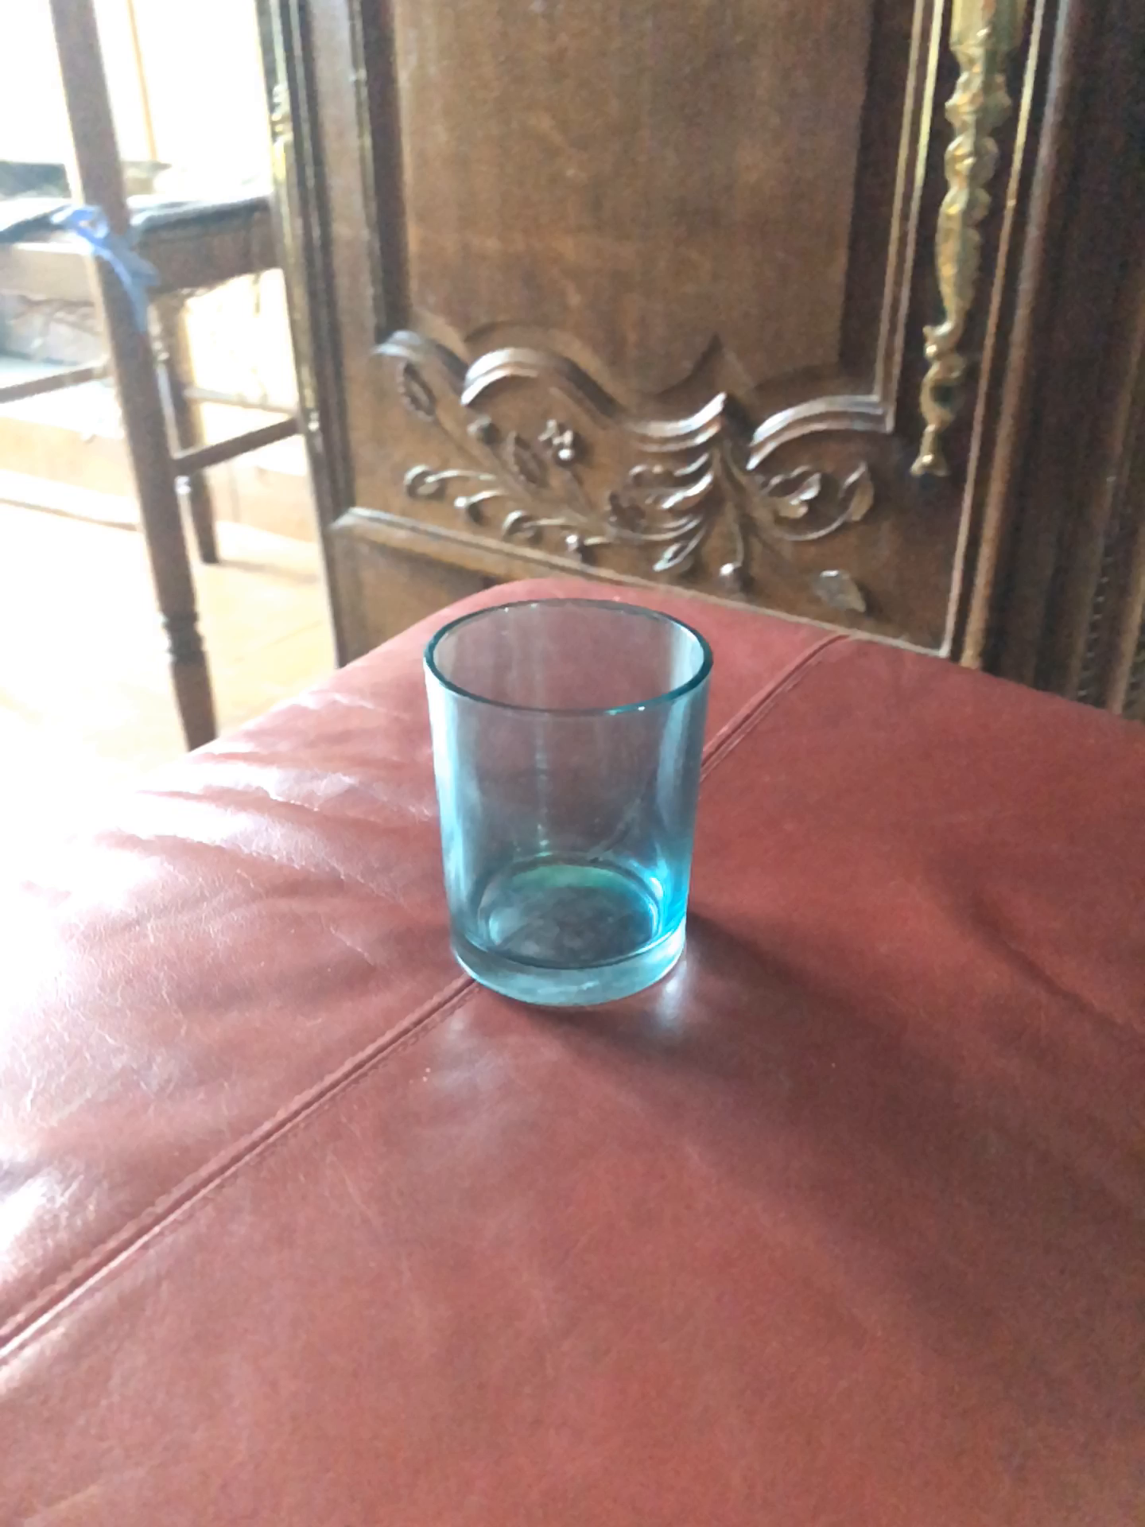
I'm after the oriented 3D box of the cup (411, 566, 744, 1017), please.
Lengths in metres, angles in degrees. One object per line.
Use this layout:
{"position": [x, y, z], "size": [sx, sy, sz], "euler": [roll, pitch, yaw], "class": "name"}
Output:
{"position": [0.003, 0.005, 0.318], "size": [0.070, 0.089, 0.070], "euler": [-1, 29, 1], "class": "cup"}
